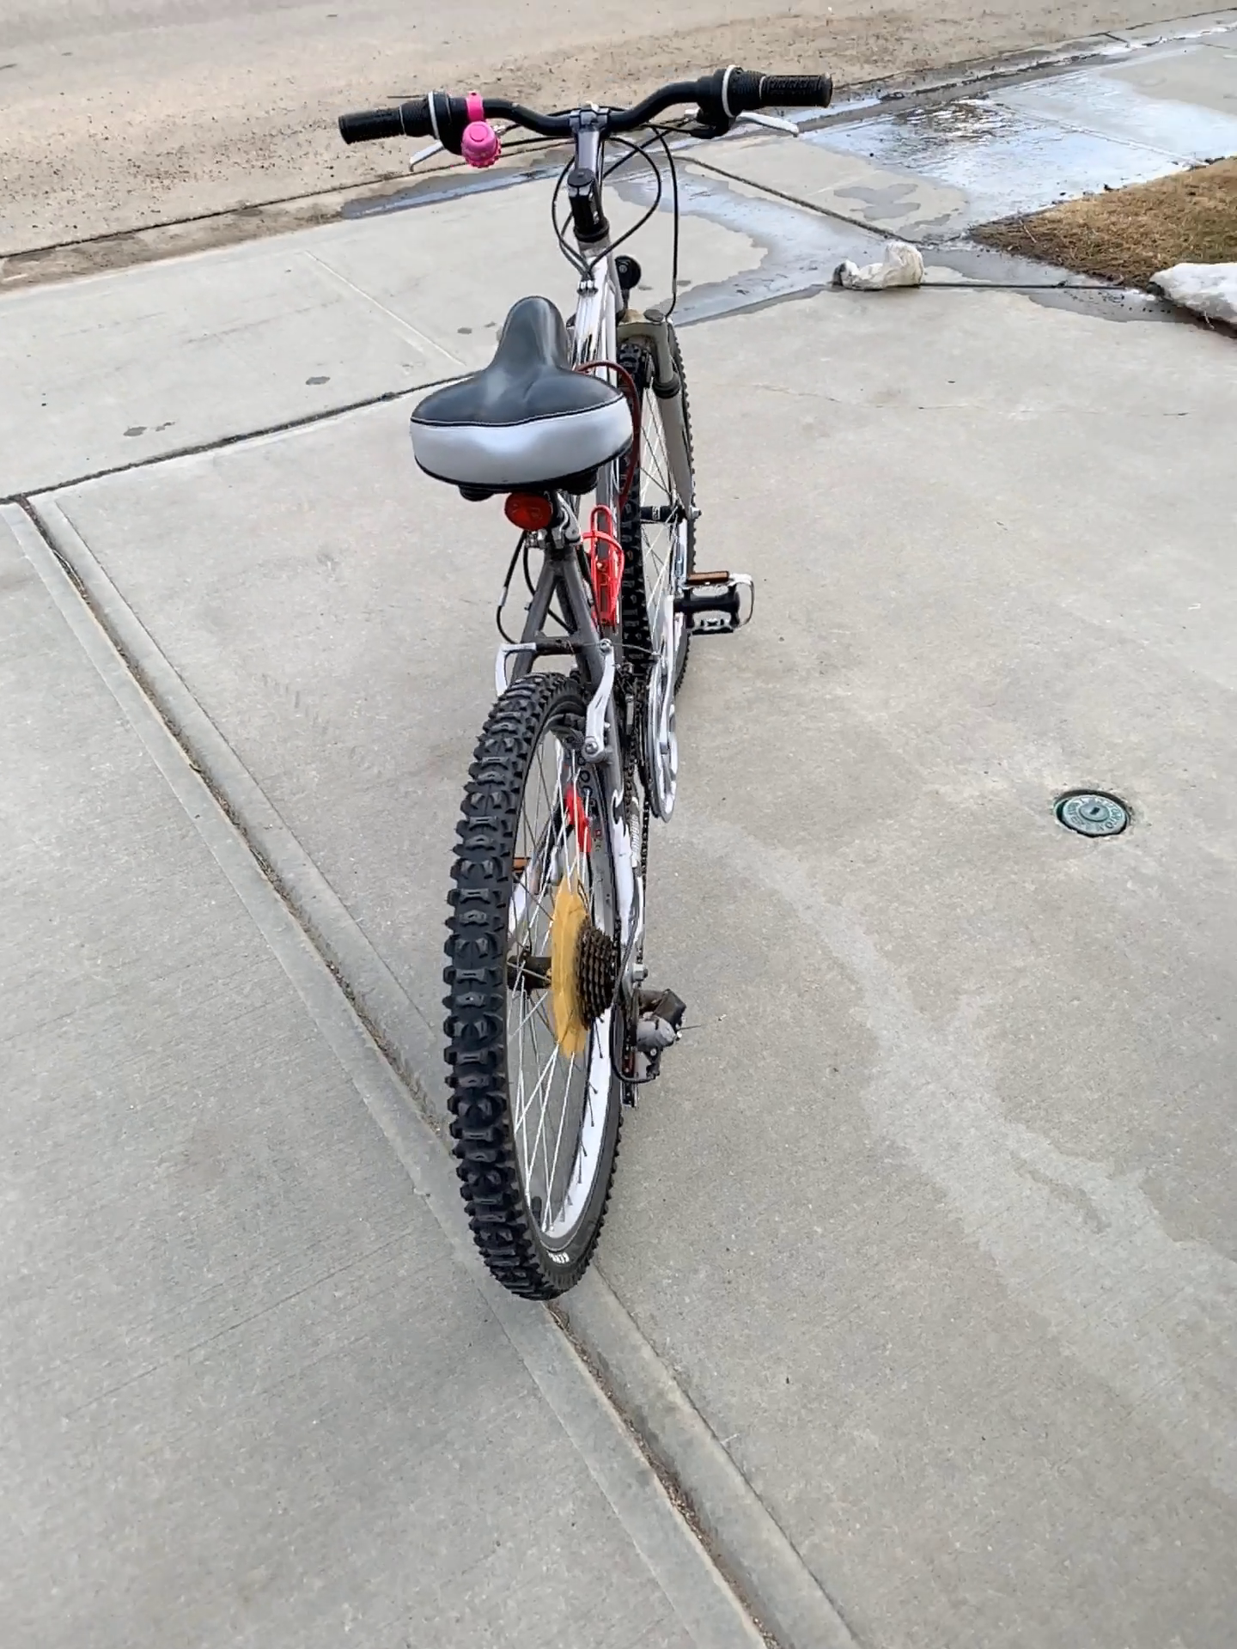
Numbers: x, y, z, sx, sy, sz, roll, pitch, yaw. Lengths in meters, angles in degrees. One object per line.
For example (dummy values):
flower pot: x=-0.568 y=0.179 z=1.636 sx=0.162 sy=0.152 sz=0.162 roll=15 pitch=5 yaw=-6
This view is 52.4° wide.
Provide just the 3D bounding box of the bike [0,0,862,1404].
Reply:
bike: x=-0.048 y=-0.304 z=1.445 sx=0.538 sy=0.825 sz=1.508 roll=4 pitch=45 yaw=6
